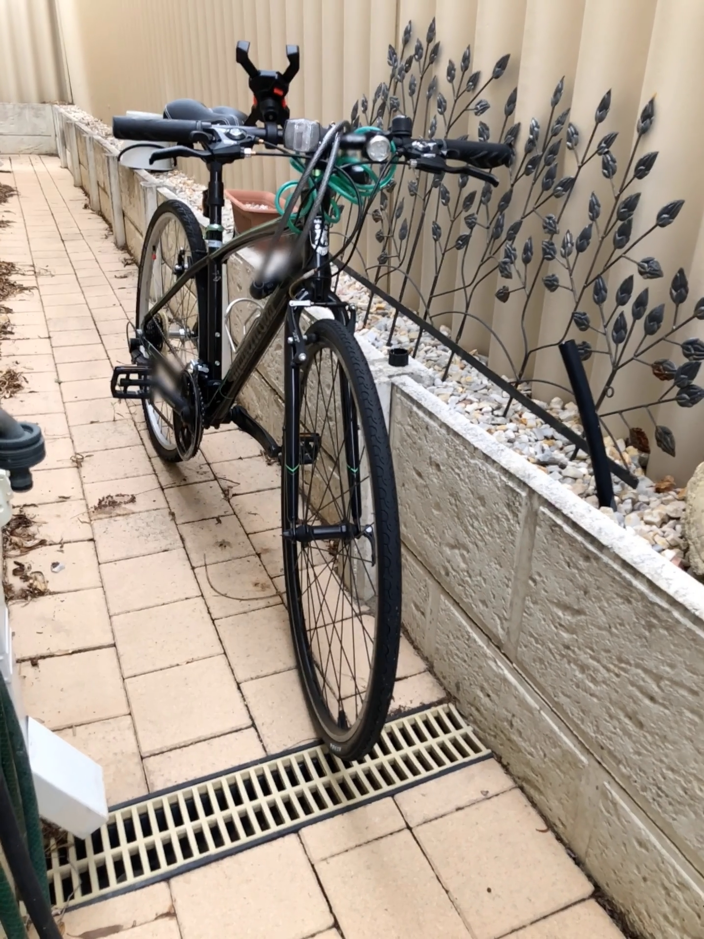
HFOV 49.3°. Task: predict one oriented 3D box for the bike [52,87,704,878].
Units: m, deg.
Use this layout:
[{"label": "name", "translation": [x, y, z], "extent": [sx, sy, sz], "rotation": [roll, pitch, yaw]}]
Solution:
[{"label": "bike", "translation": [-0.167, -0.279, 1.593], "extent": [0.638, 0.859, 1.705], "rotation": [-9, 29, -22]}]
